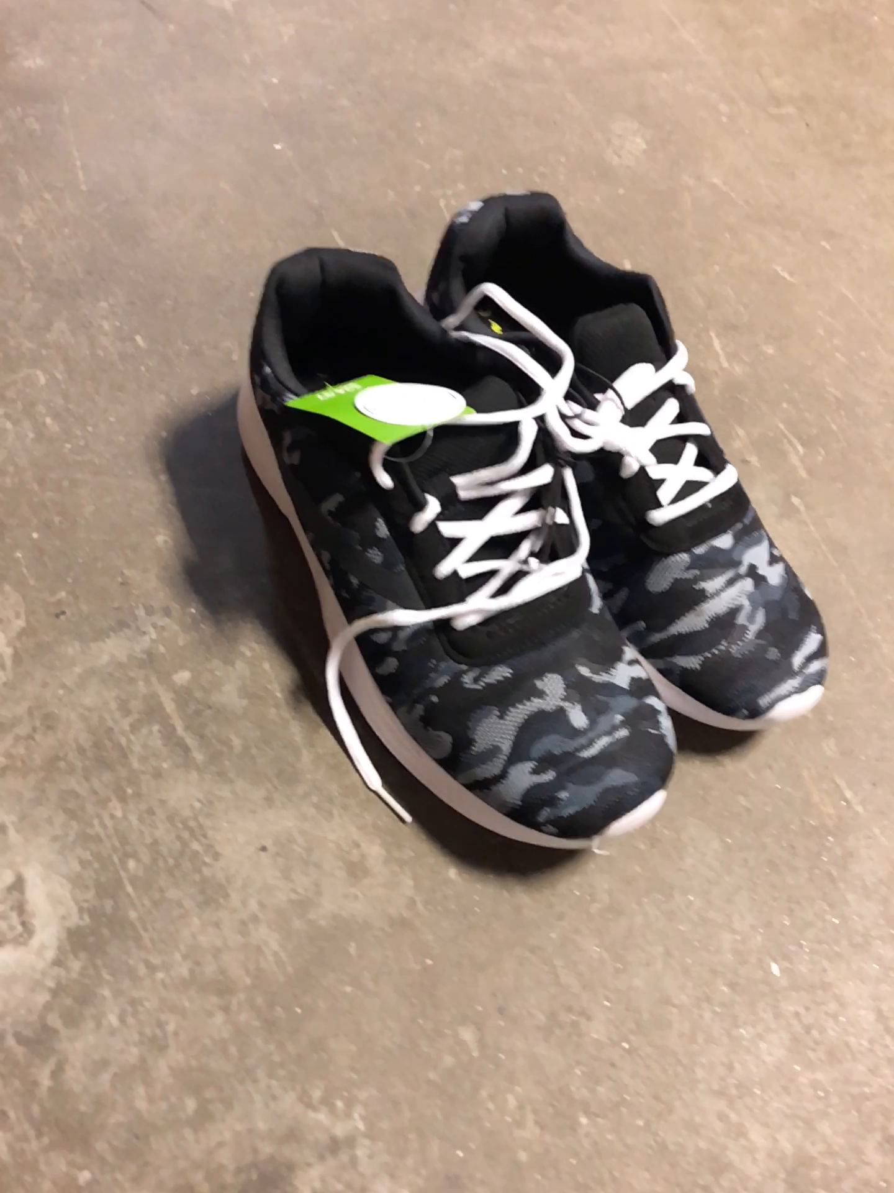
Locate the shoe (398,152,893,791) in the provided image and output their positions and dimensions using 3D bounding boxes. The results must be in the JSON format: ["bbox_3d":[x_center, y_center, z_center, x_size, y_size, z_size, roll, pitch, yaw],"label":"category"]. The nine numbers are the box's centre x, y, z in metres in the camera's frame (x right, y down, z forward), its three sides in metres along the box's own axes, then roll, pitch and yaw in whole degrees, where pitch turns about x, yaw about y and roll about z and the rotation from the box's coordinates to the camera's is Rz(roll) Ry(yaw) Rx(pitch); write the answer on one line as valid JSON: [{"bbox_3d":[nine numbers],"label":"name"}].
[{"bbox_3d":[0.101,-0.067,0.479,0.120,0.139,0.261,-25,64,-23],"label":"shoe"}]

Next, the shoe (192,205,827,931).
[{"bbox_3d":[0.004,-0.019,0.422,0.110,0.139,0.261,-25,64,-23],"label":"shoe"}]
